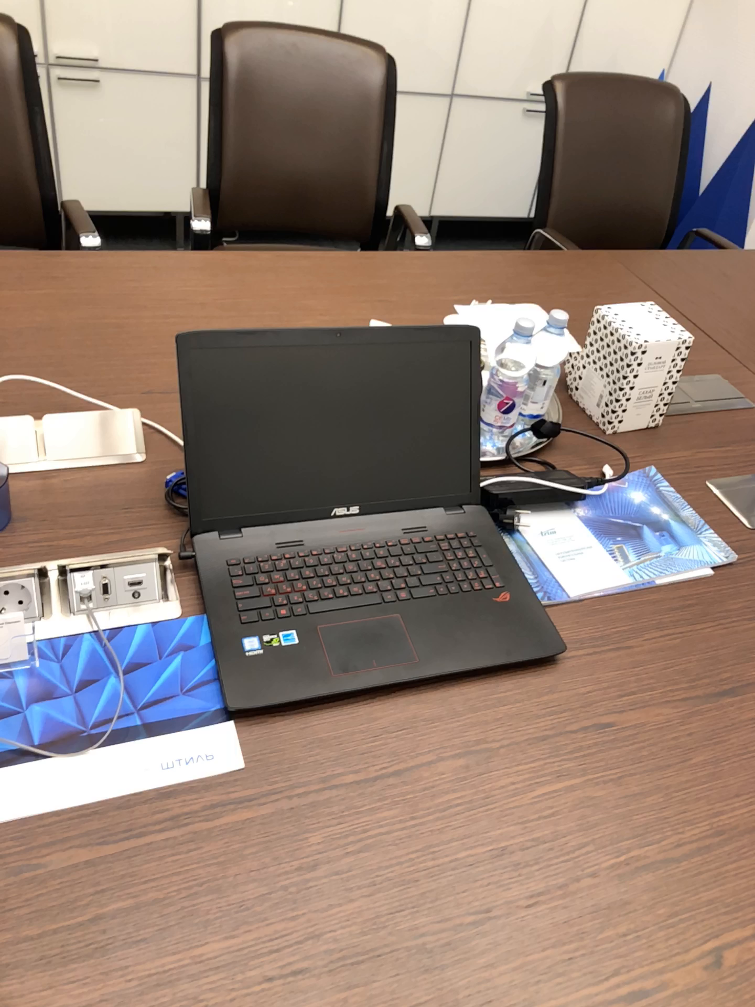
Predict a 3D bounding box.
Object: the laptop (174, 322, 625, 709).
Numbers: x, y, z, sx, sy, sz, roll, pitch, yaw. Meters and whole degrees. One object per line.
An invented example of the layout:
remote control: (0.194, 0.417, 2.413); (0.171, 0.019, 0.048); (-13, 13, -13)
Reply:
laptop: (-0.008, -0.017, 0.930); (0.380, 0.194, 0.370); (-6, 43, -19)
